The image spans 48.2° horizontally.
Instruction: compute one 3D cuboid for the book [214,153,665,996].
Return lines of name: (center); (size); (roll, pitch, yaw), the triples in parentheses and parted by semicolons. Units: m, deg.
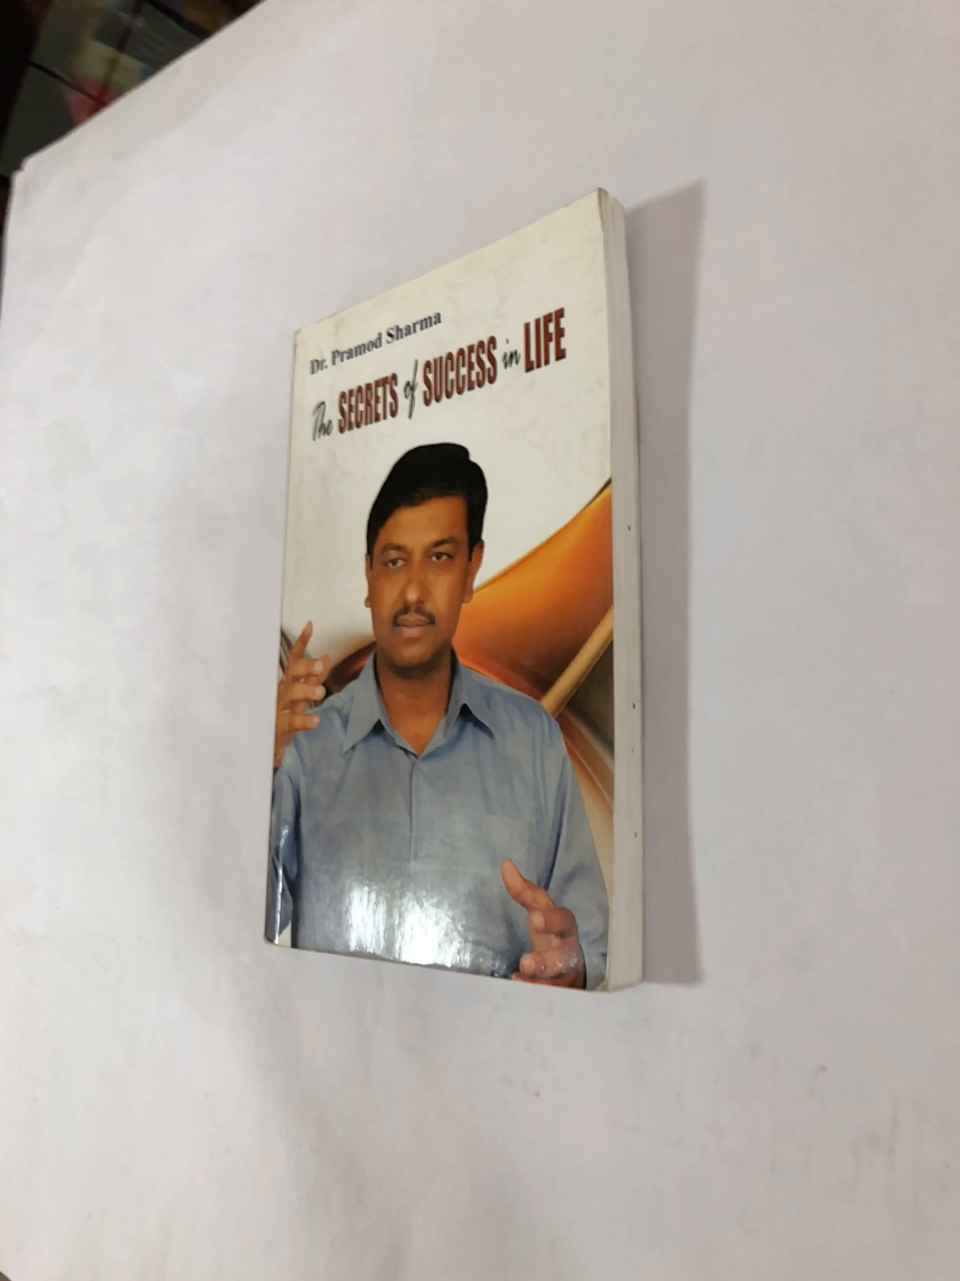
book: (-0.018, -0.014, 0.315); (0.151, 0.020, 0.210); (-9, 75, 40)
